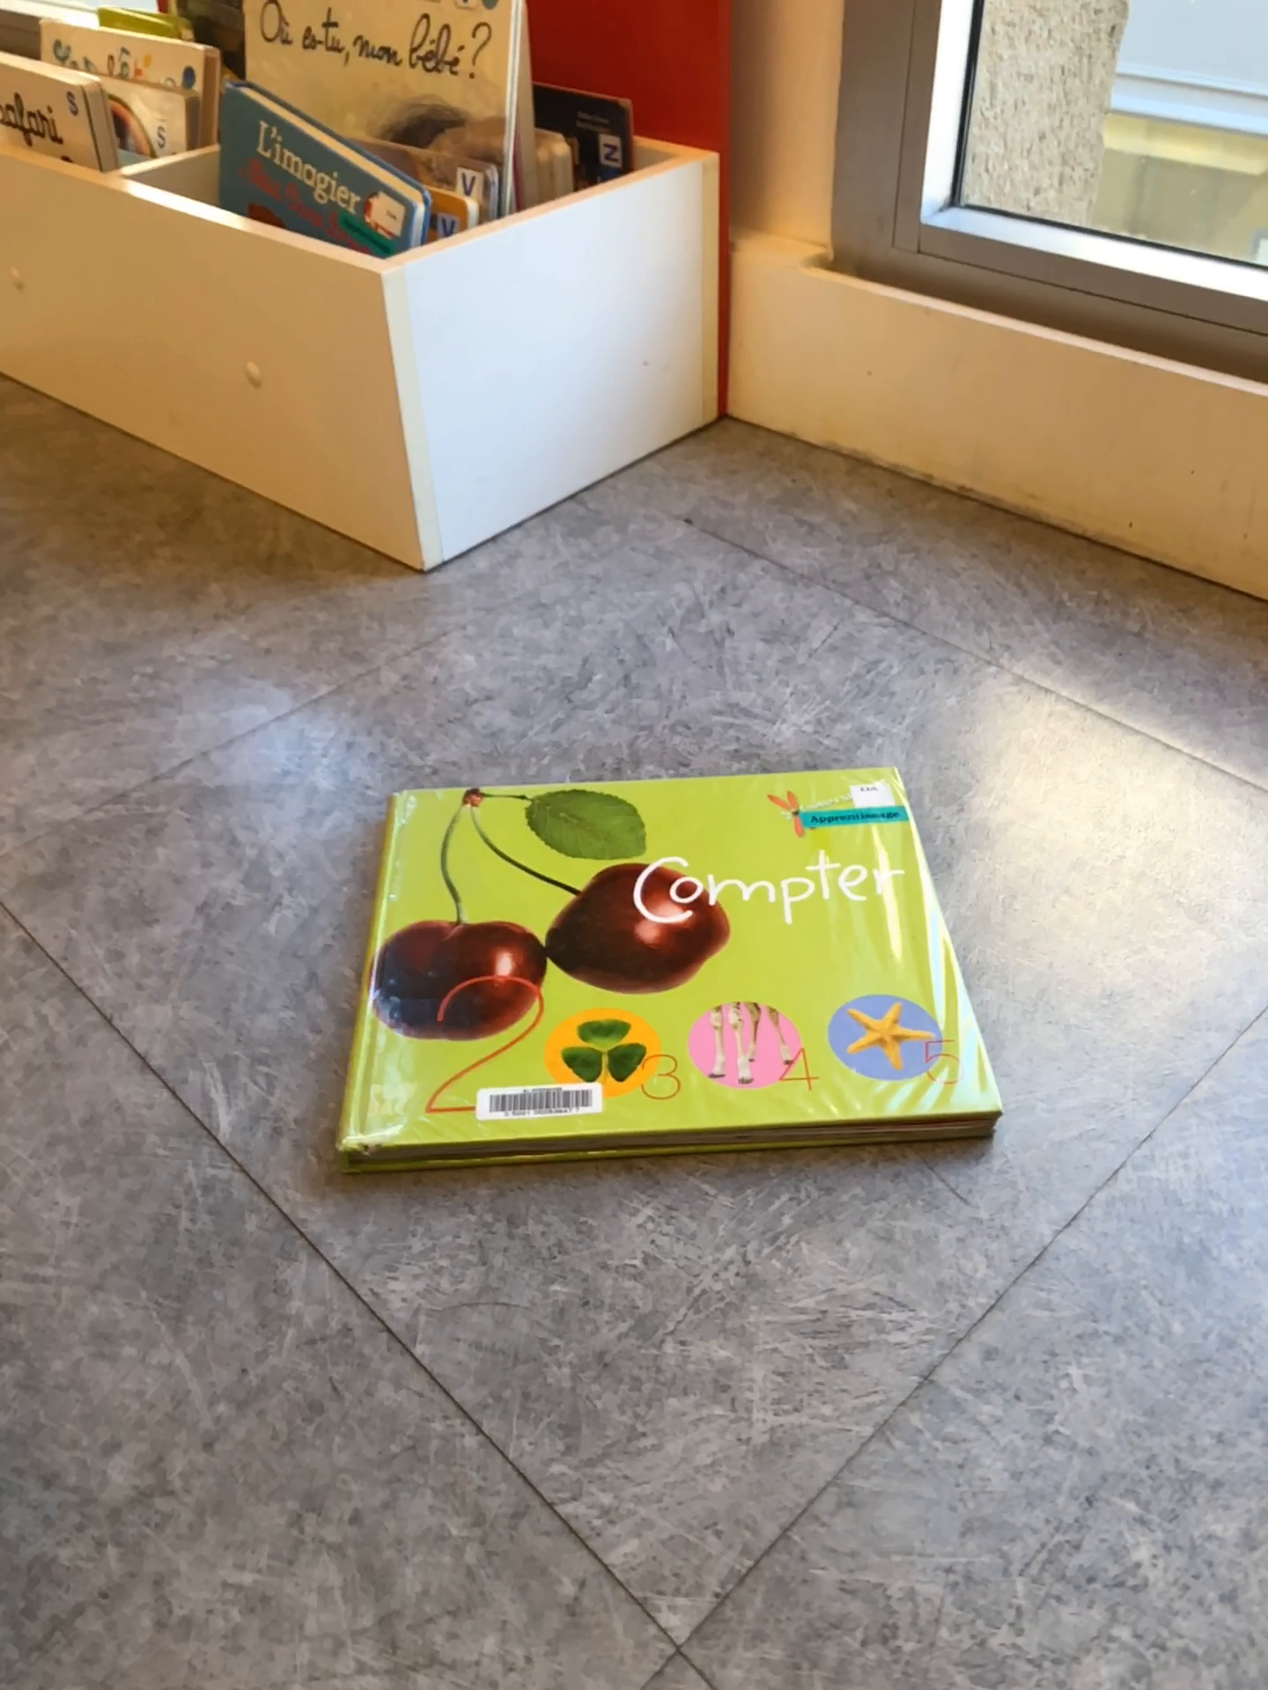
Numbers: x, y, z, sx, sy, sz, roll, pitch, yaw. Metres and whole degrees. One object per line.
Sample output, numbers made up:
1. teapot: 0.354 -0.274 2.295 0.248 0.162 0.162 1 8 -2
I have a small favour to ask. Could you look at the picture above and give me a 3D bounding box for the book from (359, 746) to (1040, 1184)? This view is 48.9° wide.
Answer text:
1. book: 0.021 0.040 0.611 0.255 0.021 0.223 -3 43 -1
